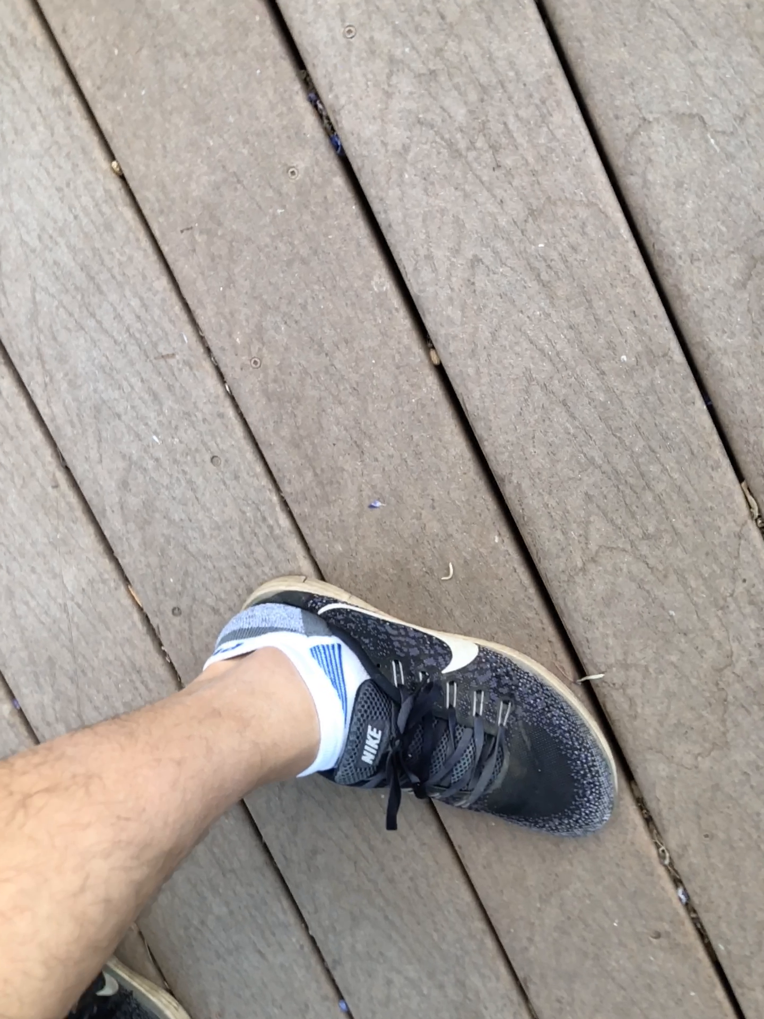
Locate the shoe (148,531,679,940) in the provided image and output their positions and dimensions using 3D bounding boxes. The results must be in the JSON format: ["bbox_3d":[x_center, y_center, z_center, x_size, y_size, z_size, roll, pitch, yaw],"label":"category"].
[{"bbox_3d":[0.019,0.143,0.564,0.310,0.090,0.120,25,105,2],"label":"shoe"}]

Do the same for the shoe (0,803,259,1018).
[{"bbox_3d":[-0.253,0.420,0.695,0.120,0.090,0.320,-32,97,15],"label":"shoe"}]
